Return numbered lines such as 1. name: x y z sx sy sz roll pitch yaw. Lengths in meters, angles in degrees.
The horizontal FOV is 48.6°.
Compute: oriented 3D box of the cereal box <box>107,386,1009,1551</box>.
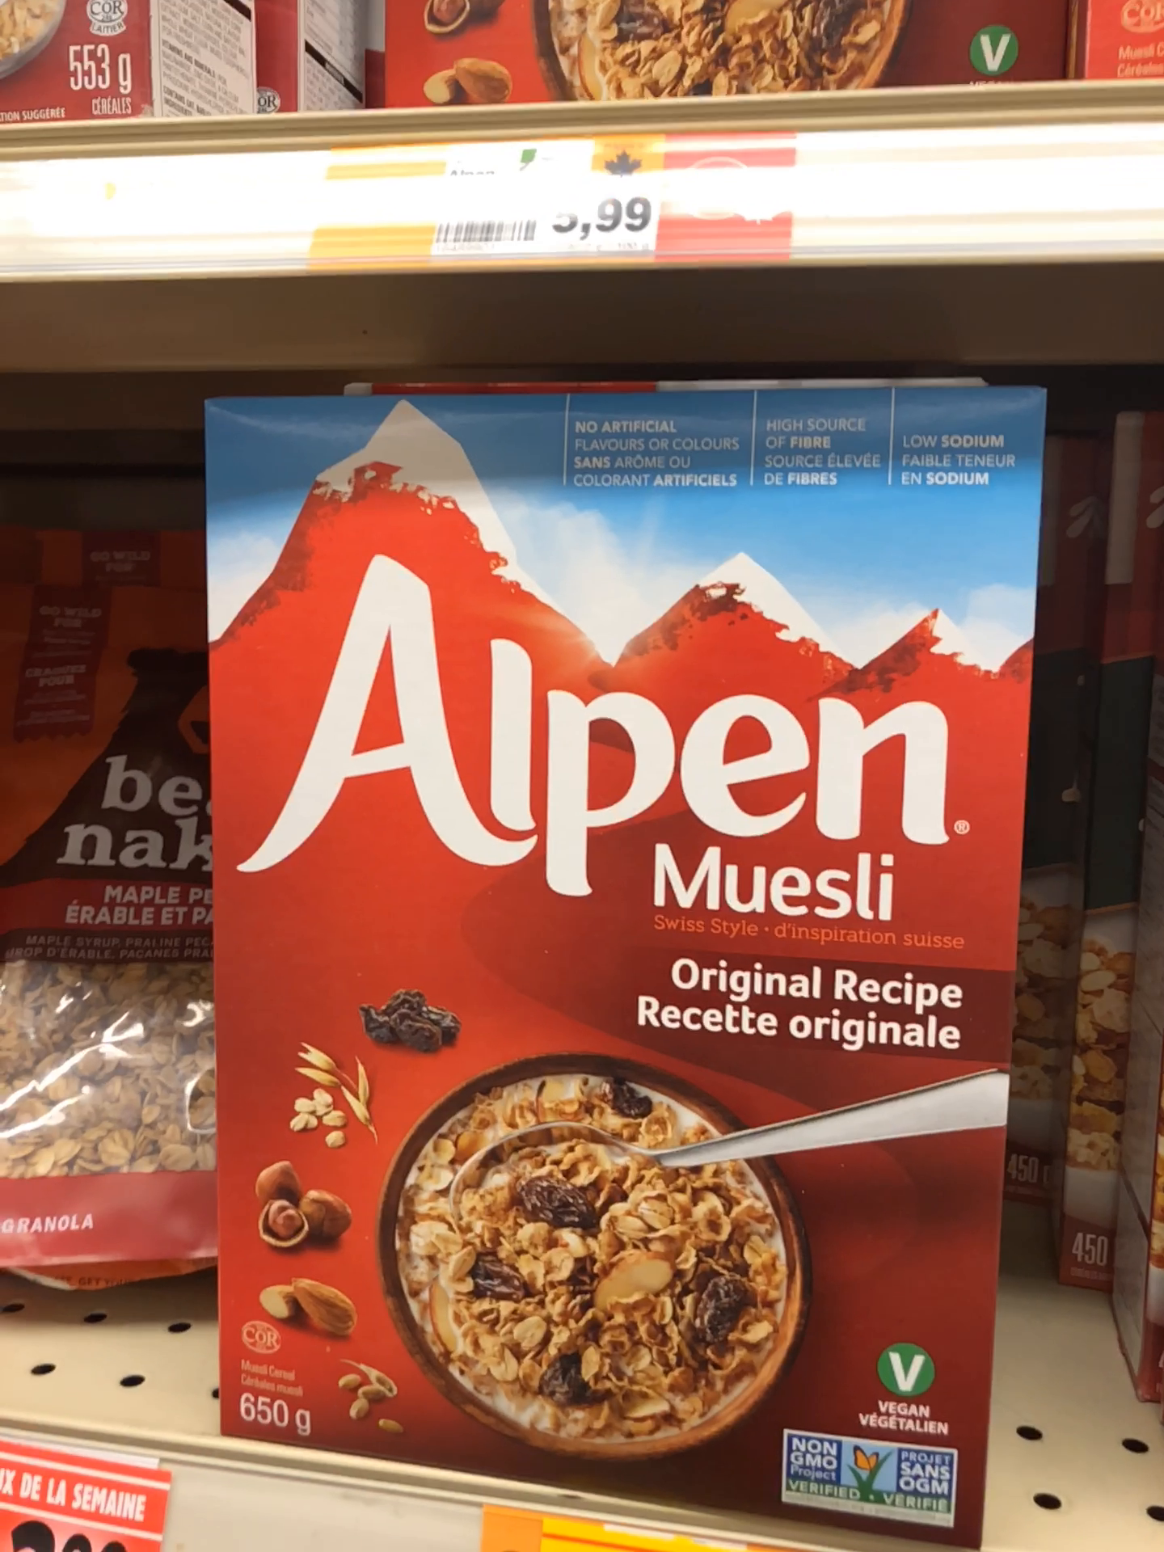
1. cereal box: -0.007 0.038 0.299 0.180 0.239 0.060 3 8 10
